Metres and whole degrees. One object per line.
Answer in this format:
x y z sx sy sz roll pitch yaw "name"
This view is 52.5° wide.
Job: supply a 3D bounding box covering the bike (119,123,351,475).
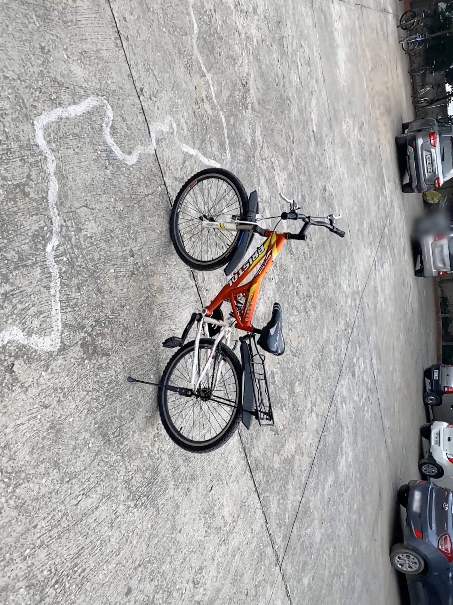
0.059 -0.004 2.406 0.587 0.977 1.512 22 66 -60 "bike"
